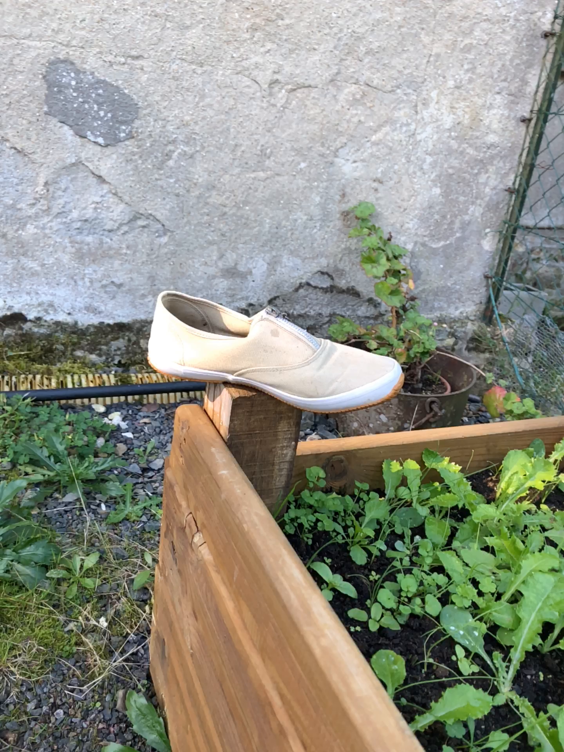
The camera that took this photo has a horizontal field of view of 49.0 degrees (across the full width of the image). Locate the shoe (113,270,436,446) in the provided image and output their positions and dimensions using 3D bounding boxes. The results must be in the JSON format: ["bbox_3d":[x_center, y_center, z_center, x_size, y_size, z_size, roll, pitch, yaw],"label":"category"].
[{"bbox_3d":[-0.008,-0.027,0.552,0.260,0.070,0.111,14,25,19],"label":"shoe"}]
